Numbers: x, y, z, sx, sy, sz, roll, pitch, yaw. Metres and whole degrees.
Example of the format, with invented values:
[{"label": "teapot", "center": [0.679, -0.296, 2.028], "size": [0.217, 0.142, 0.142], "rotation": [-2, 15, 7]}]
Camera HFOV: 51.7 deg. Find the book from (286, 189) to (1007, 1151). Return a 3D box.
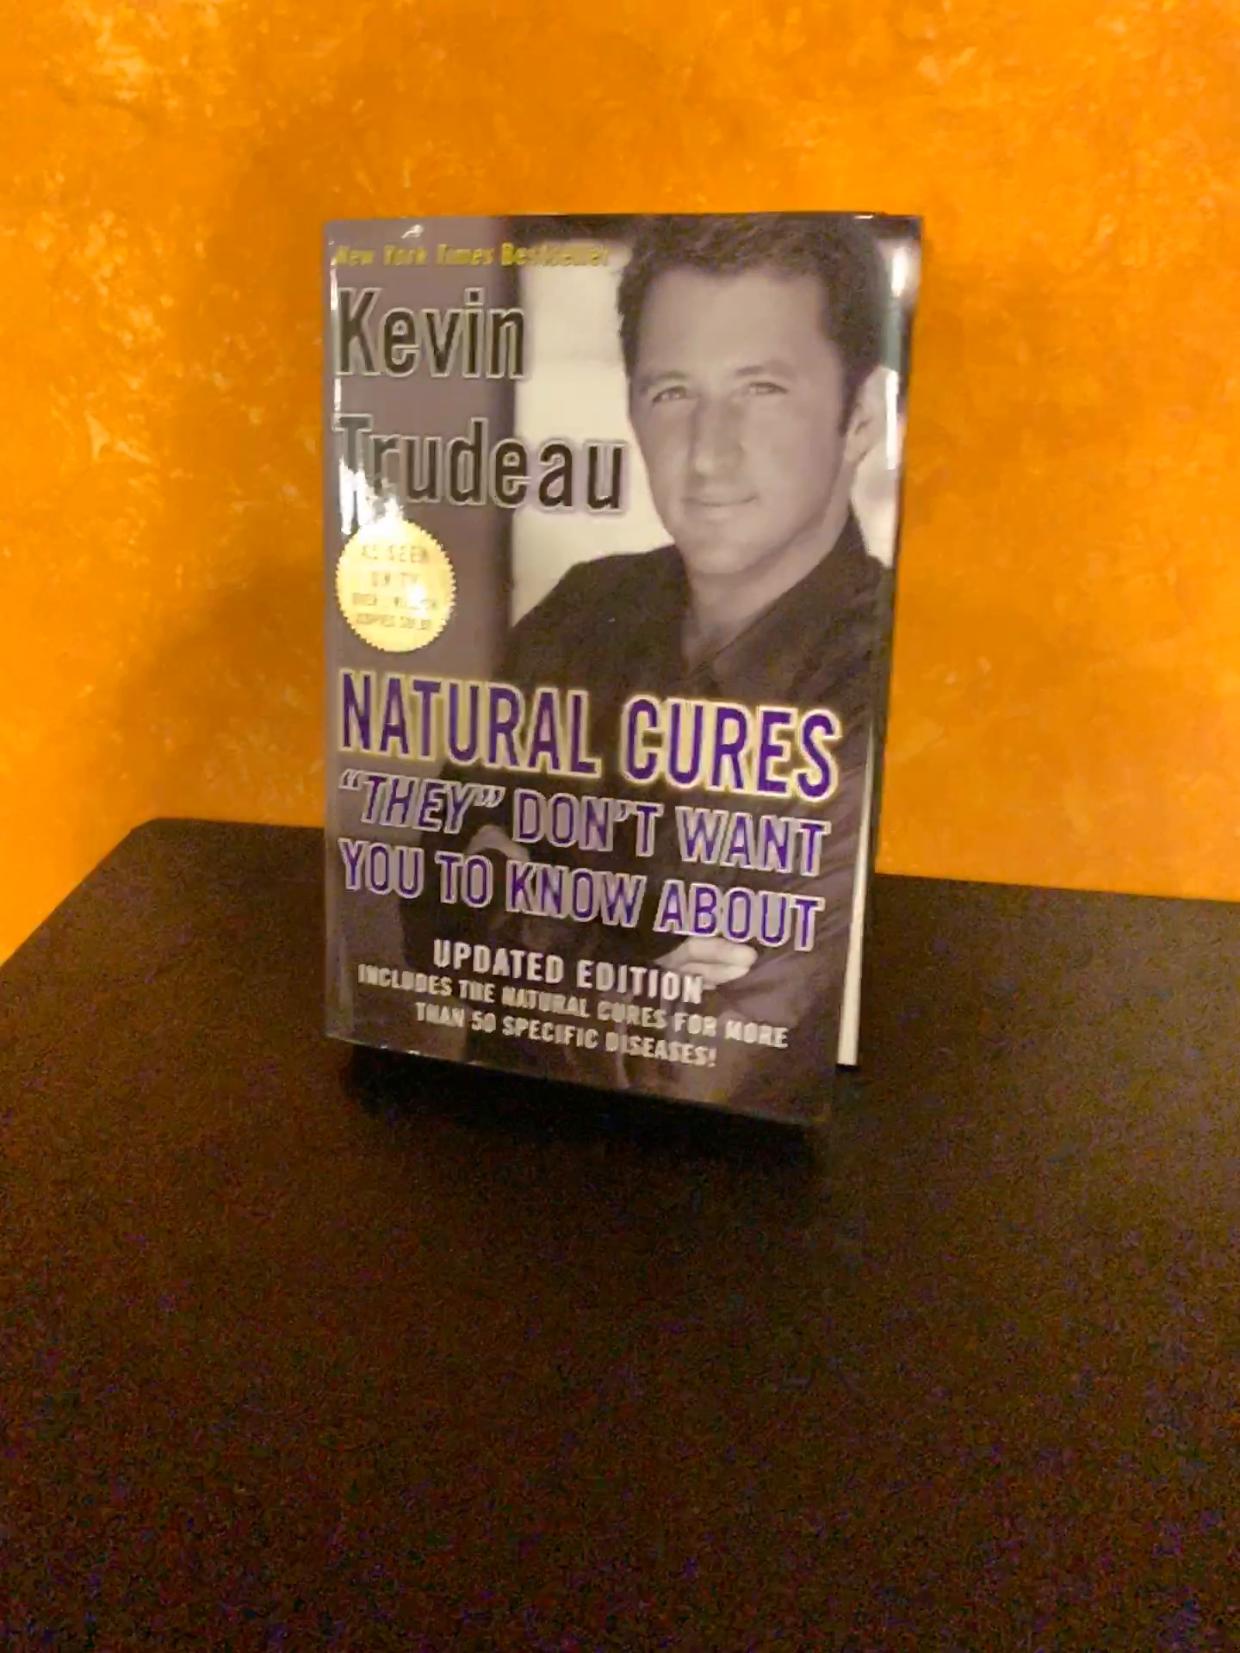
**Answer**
[{"label": "book", "center": [0.001, -0.043, 0.355], "size": [0.180, 0.229, 0.050], "rotation": [6, 12, 16]}]
